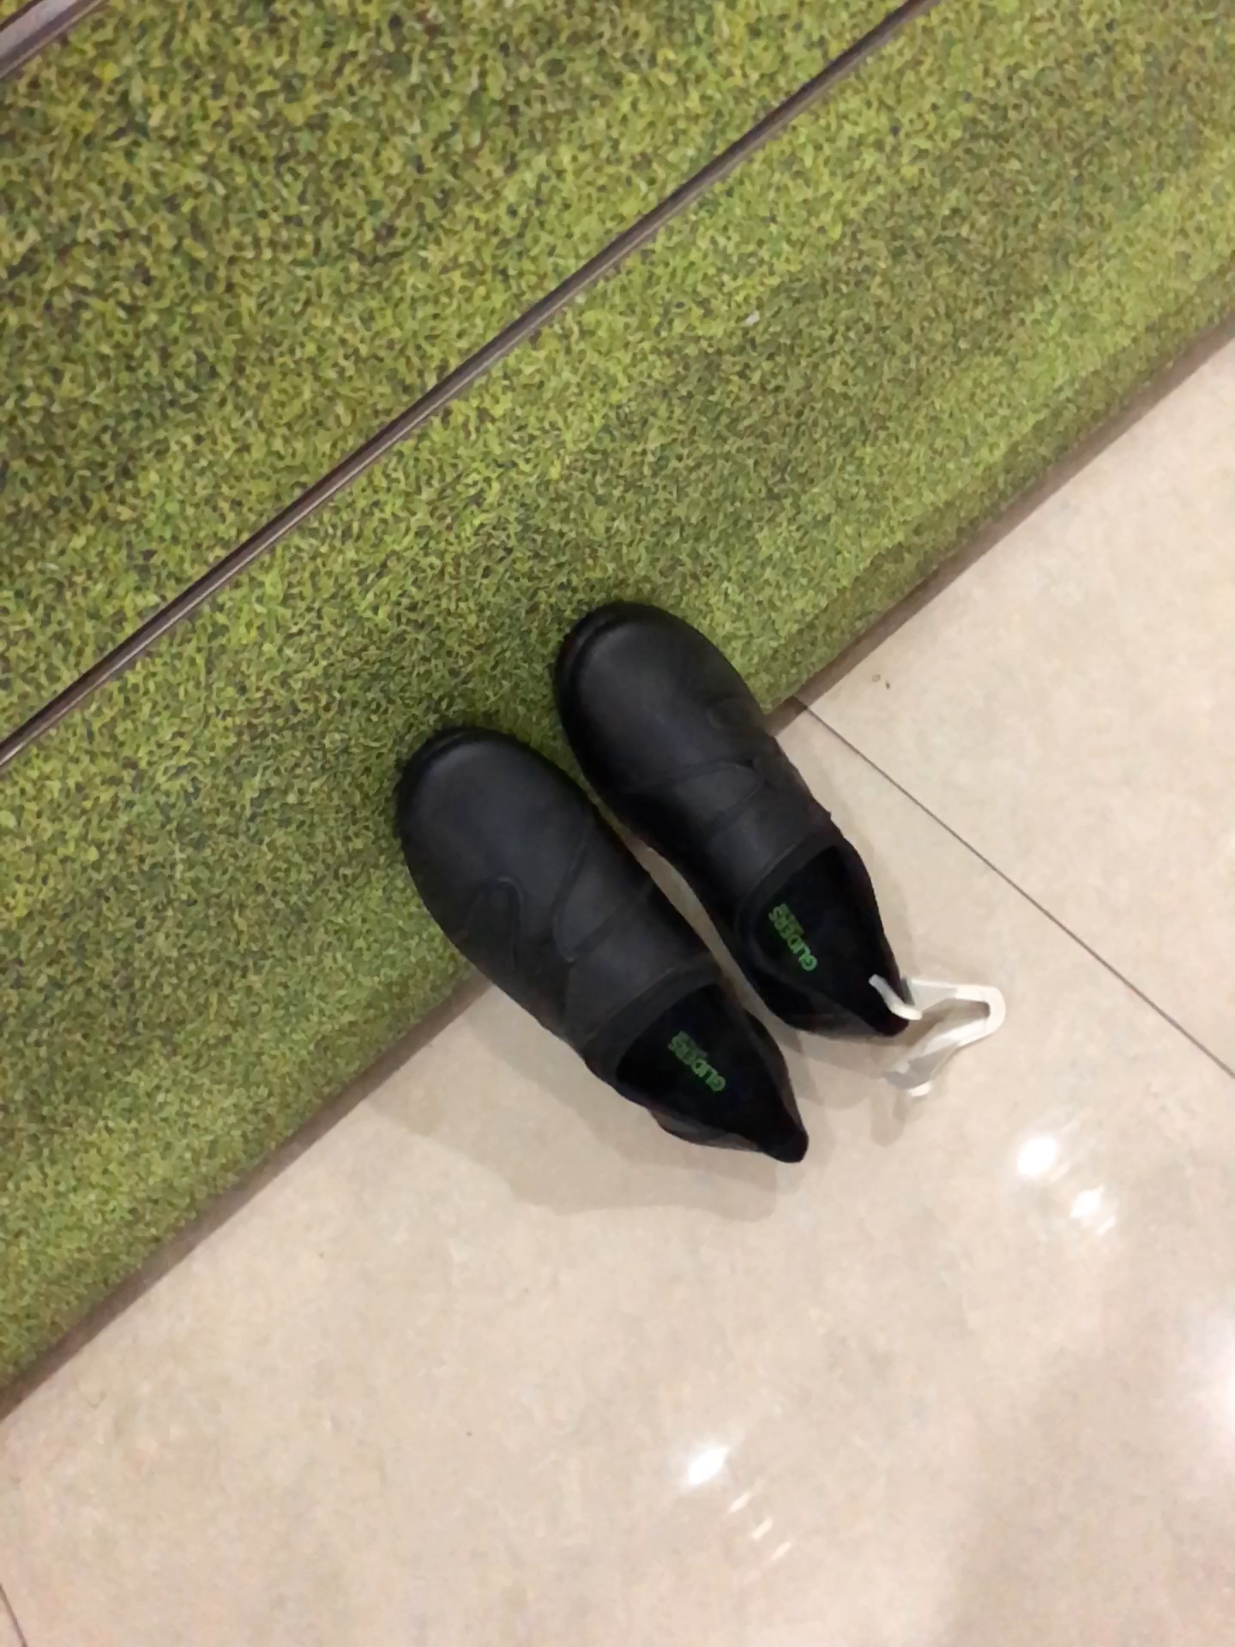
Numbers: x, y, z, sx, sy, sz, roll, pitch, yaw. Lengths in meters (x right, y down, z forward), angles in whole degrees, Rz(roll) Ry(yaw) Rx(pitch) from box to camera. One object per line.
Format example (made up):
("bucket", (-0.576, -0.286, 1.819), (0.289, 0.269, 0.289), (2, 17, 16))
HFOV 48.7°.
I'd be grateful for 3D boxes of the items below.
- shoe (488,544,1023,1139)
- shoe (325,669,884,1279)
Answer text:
("shoe", (0.055, 0.007, 0.570), (0.080, 0.081, 0.236), (-39, 101, -4))
("shoe", (-0.007, 0.058, 0.564), (0.090, 0.081, 0.236), (-39, 101, -4))
